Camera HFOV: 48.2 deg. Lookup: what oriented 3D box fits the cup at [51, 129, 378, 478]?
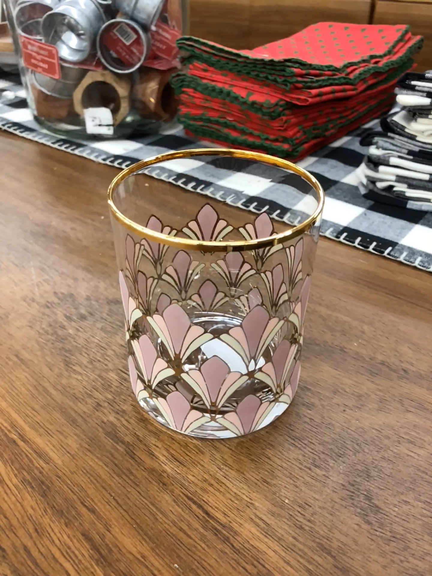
[{"bbox_3d":[0.000,-0.001,0.197,0.081,0.090,0.083,0,35,0],"label":"cup"}]
